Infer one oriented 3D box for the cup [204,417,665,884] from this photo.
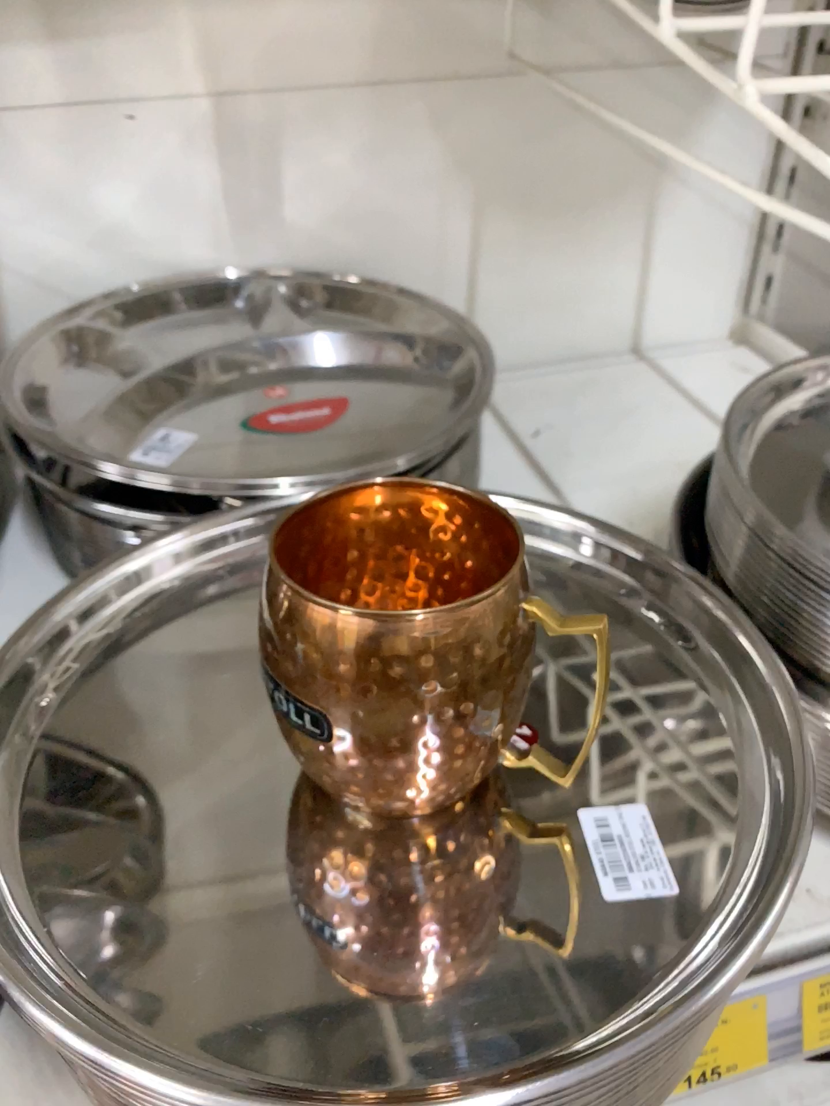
[{"bbox_3d":[0.010,0.025,0.285,0.110,0.090,0.090,15,40,21],"label":"cup"}]
